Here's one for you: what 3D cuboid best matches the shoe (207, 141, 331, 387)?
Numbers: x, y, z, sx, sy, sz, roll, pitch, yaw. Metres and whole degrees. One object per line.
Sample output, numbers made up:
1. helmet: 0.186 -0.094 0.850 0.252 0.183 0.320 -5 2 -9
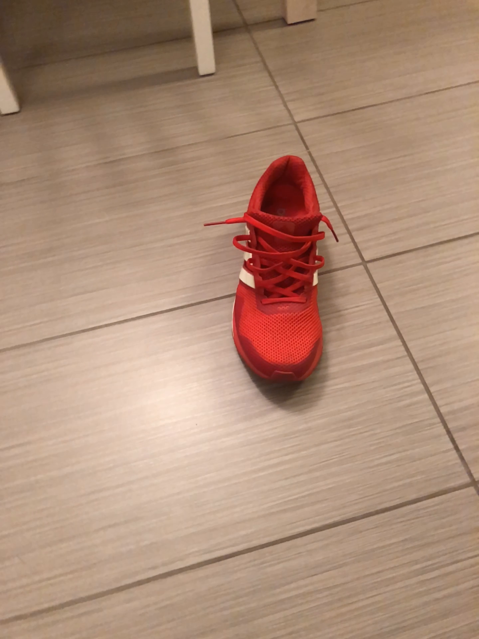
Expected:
1. shoe: 0.040 -0.075 0.629 0.120 0.100 0.291 1 58 5
